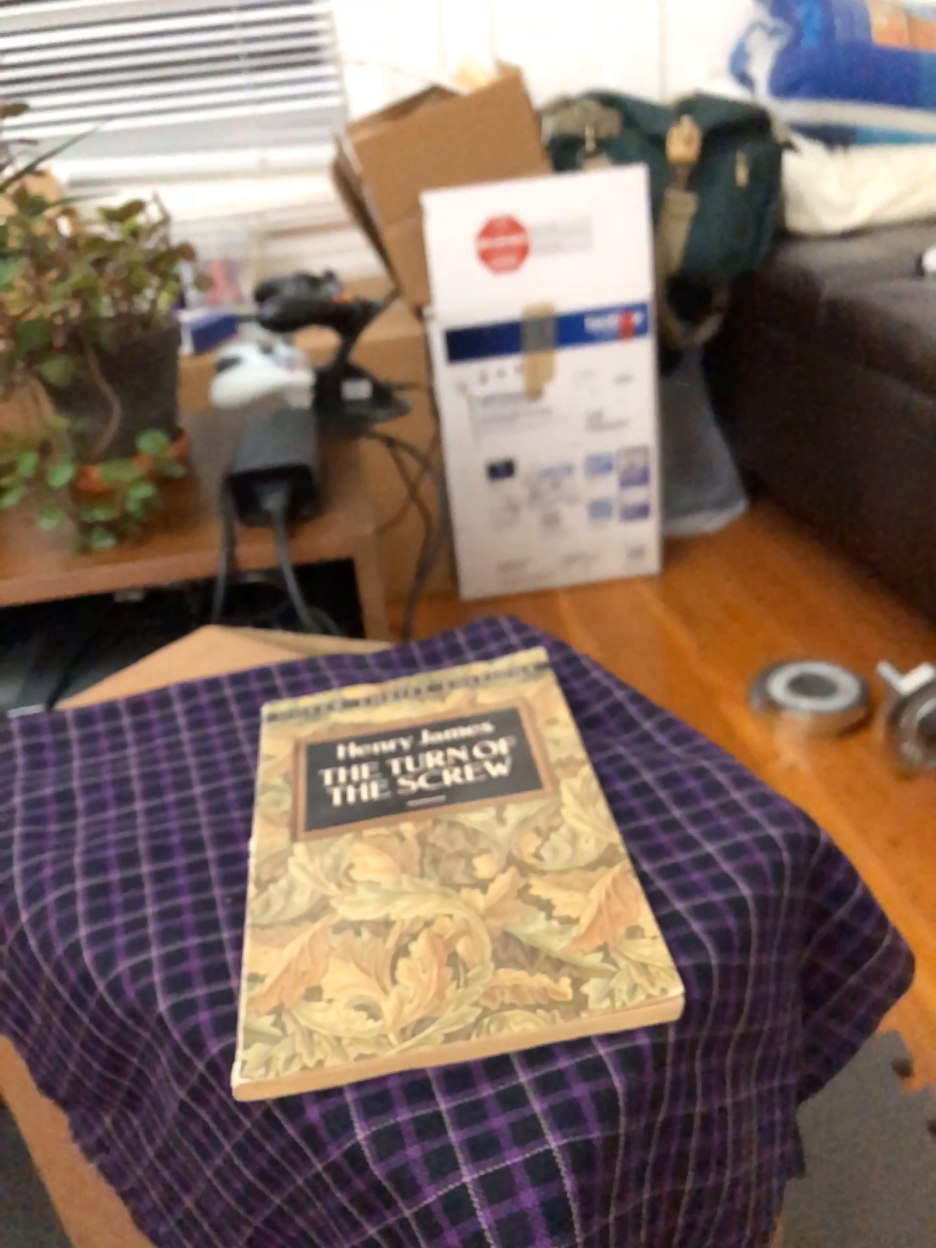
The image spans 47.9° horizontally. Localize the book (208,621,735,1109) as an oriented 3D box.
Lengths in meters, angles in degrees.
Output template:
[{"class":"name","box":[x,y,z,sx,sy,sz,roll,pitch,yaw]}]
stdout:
[{"class":"book","box":[-0.012,0.062,0.376,0.140,0.010,0.221,-9,27,-4]}]
